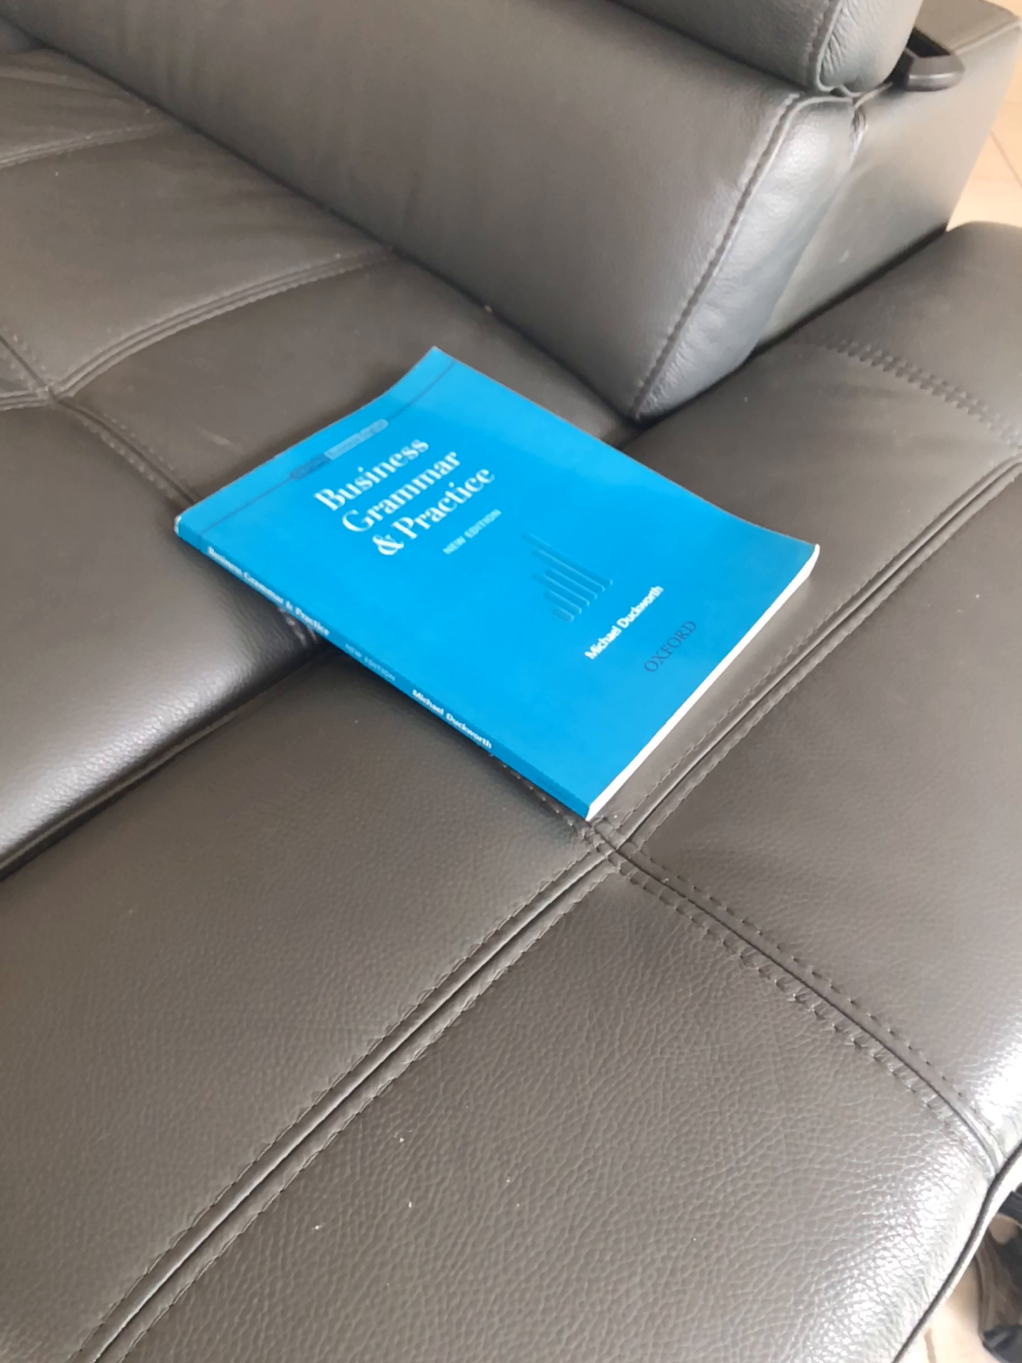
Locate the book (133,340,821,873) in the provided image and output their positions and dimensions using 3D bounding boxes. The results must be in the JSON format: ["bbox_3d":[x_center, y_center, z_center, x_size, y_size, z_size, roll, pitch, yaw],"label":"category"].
[{"bbox_3d":[-0.014,-0.063,0.601,0.280,0.020,0.231,33,57,19],"label":"book"}]
